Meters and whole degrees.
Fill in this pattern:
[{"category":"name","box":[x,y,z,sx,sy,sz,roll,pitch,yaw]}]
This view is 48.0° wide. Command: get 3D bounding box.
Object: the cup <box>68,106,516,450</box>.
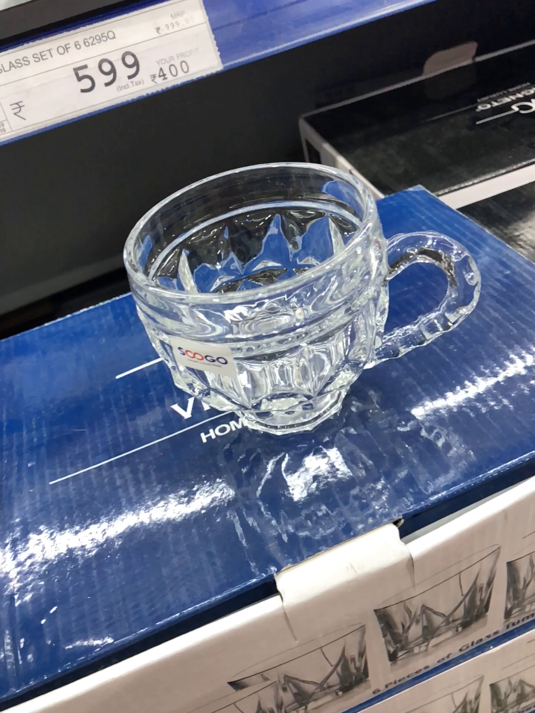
[{"category":"cup","box":[0.015,-0.026,0.194,0.110,0.060,0.090,-1,42,17]}]
